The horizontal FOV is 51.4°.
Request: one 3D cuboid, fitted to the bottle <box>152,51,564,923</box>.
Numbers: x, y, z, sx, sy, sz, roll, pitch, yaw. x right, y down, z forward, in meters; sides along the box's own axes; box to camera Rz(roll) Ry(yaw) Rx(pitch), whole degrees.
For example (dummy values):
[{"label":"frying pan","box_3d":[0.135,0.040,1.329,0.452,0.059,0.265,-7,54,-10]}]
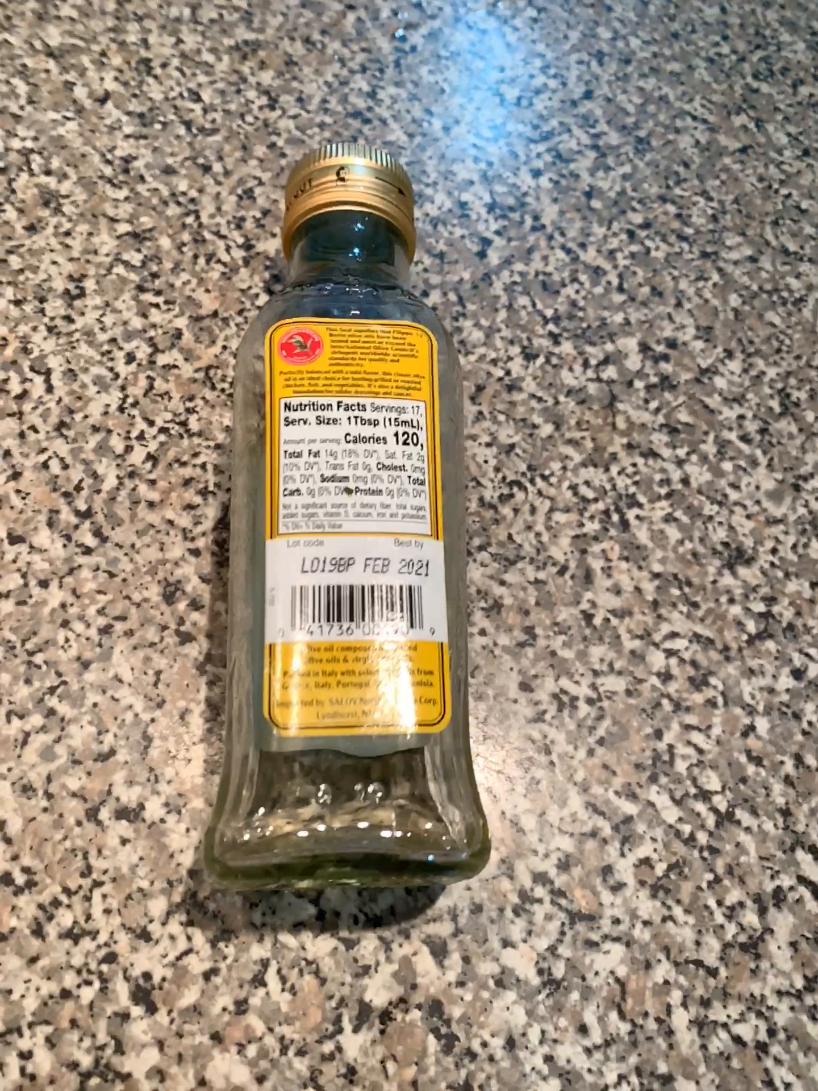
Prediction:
[{"label":"bottle","box_3d":[-0.013,-0.017,0.187,0.060,0.060,0.180,1,66,-7]}]
